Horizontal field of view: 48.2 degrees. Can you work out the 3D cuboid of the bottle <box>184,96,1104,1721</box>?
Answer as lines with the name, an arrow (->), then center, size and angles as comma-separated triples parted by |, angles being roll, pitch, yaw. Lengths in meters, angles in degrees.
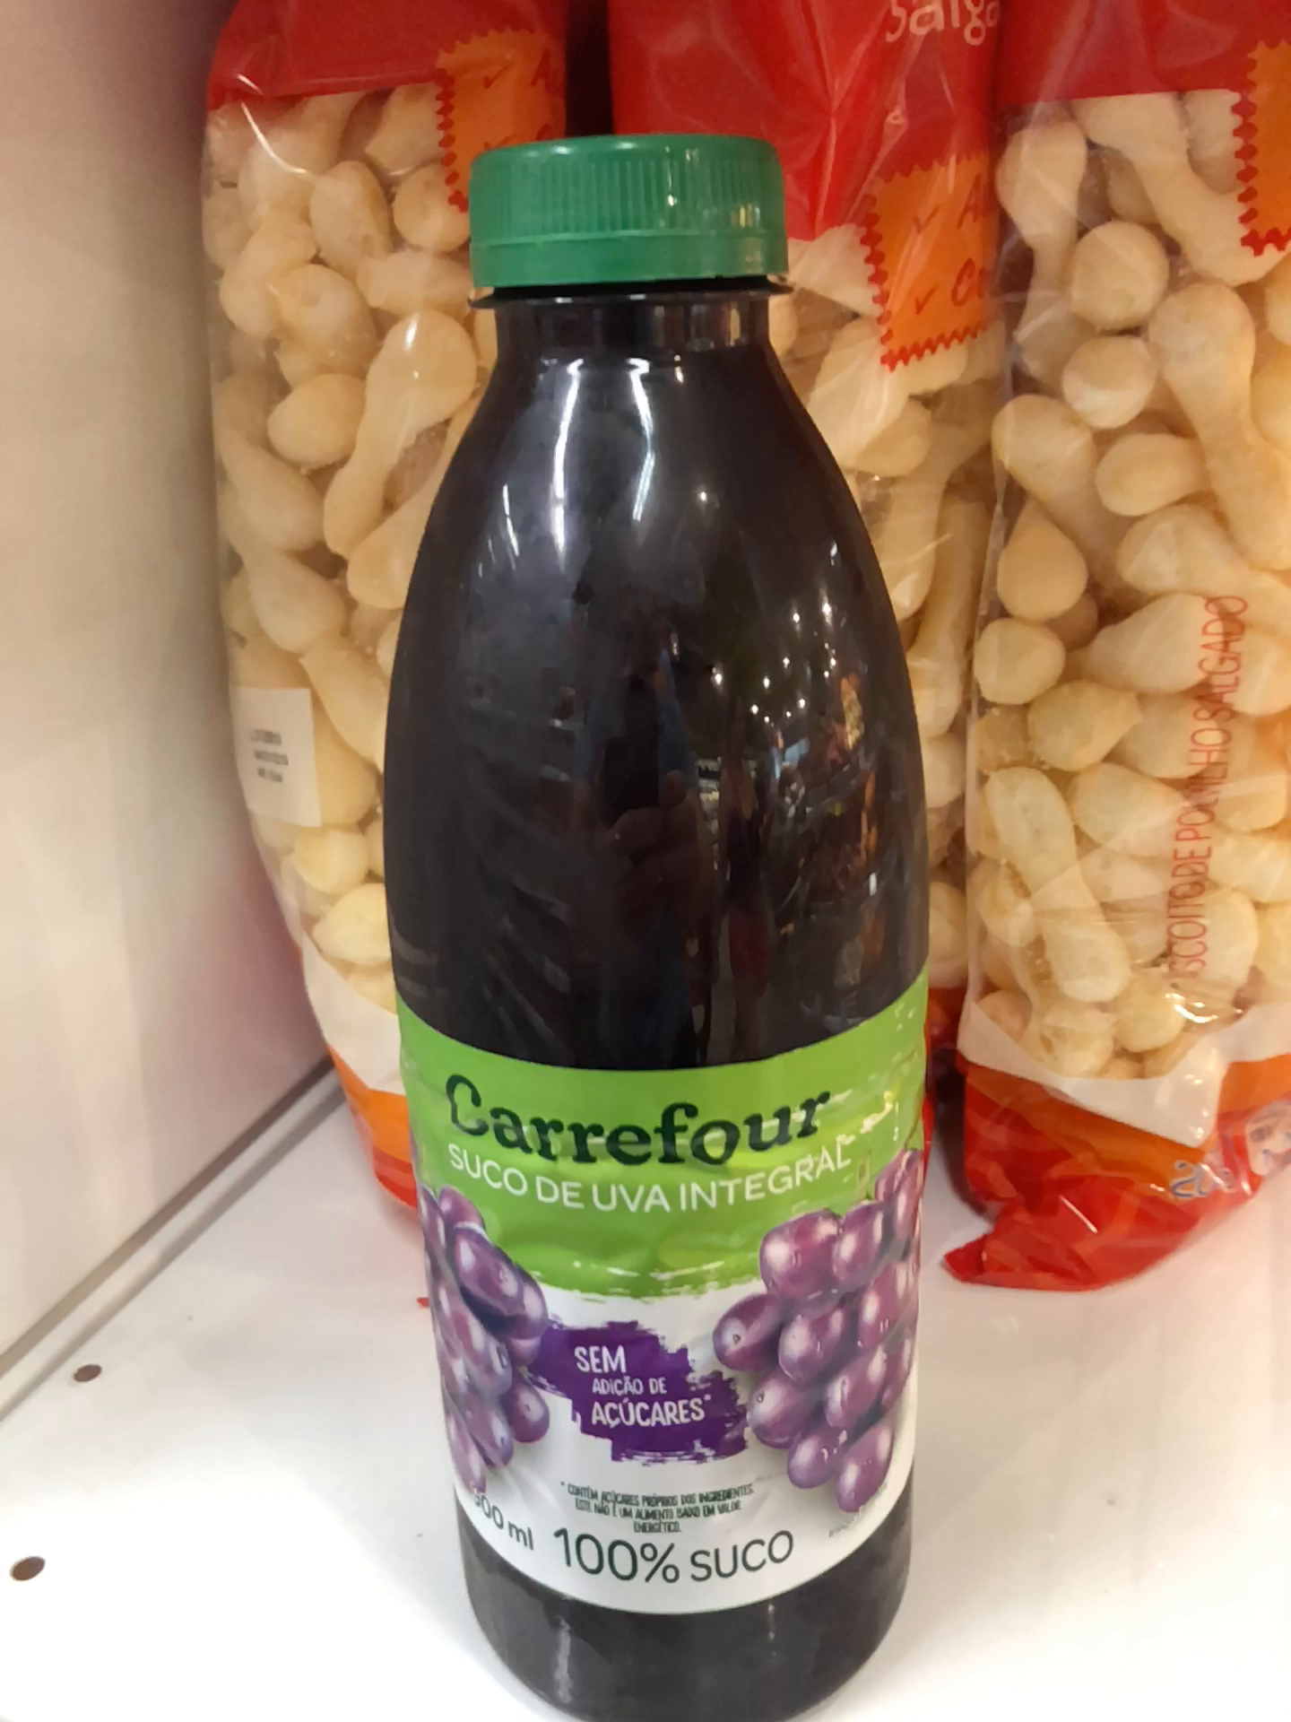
bottle -> 0.002, 0.016, 0.221 | 0.090, 0.229, 0.081 | 0, 22, 2
